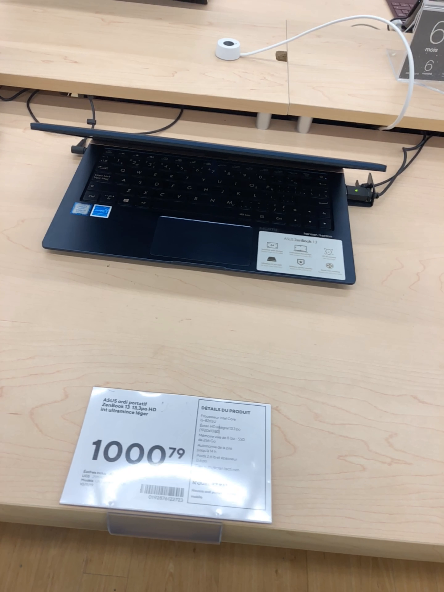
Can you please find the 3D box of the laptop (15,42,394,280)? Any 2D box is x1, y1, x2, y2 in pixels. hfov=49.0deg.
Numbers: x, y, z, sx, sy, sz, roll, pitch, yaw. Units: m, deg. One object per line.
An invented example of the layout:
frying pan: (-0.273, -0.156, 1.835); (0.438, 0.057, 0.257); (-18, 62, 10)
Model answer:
laptop: (-0.009, -0.140, 0.488); (0.299, 0.107, 0.197); (7, 50, 0)
